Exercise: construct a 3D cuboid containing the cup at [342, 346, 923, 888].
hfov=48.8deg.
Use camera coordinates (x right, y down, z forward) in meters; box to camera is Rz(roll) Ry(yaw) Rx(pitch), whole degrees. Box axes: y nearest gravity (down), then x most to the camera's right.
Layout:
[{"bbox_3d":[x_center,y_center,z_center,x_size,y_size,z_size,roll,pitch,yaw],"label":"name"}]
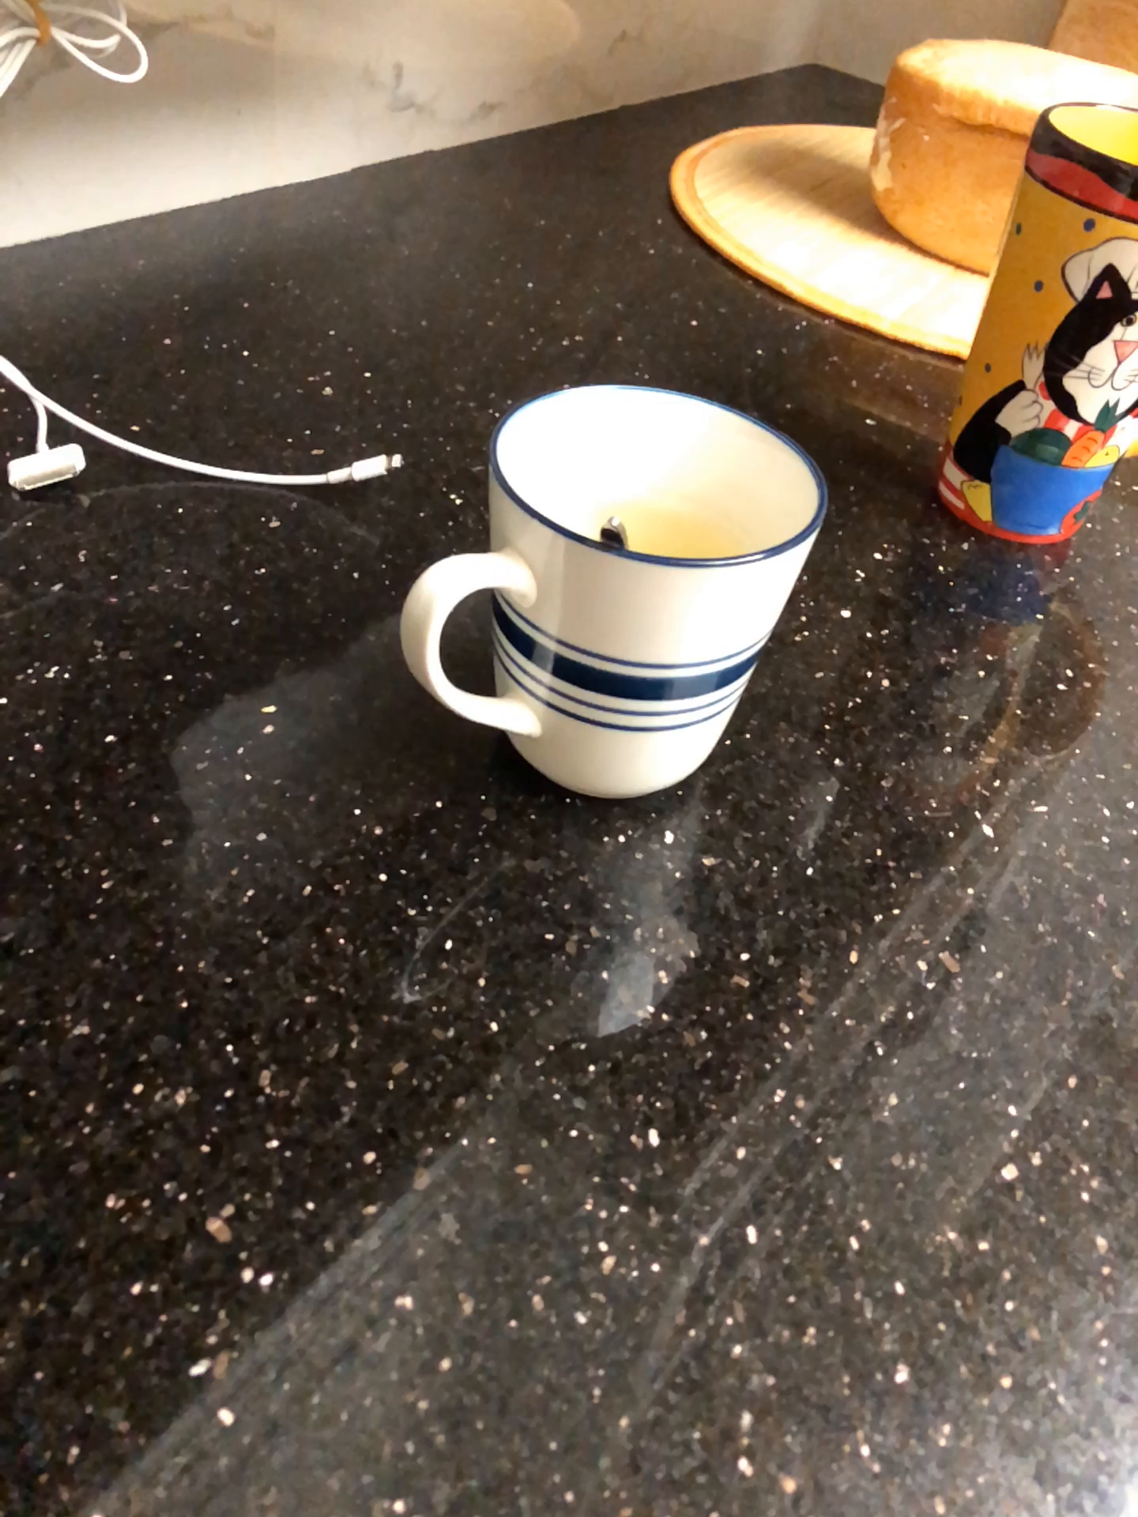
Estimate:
[{"bbox_3d":[0.012,-0.043,0.340,0.120,0.089,0.080,-21,51,-30],"label":"cup"}]
